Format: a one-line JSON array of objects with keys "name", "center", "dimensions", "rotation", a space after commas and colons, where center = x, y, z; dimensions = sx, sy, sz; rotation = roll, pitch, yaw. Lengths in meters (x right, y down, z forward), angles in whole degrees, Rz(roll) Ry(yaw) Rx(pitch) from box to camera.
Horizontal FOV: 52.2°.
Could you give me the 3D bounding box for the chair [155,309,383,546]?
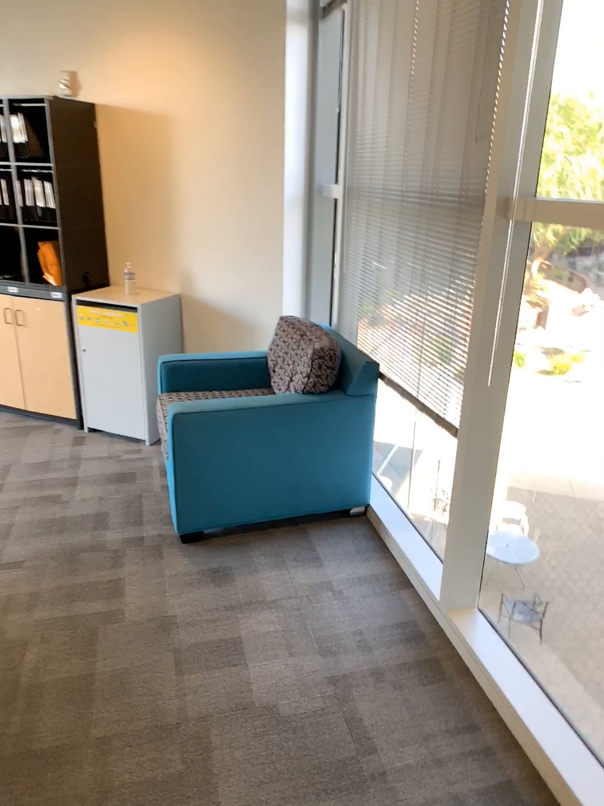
[{"name": "chair", "center": [-0.222, 0.047, 3.066], "dimensions": [0.920, 0.826, 0.915], "rotation": [-3, 20, -14]}]
